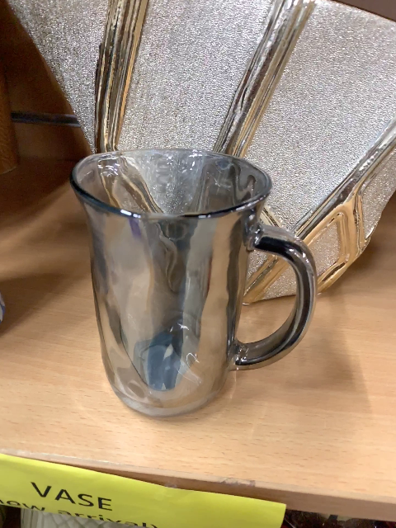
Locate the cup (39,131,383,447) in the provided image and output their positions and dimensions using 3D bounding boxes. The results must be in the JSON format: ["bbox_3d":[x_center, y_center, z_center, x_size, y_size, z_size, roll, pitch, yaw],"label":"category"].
[{"bbox_3d":[0.004,0.008,0.187,0.110,0.110,0.070,7,31,7],"label":"cup"}]
